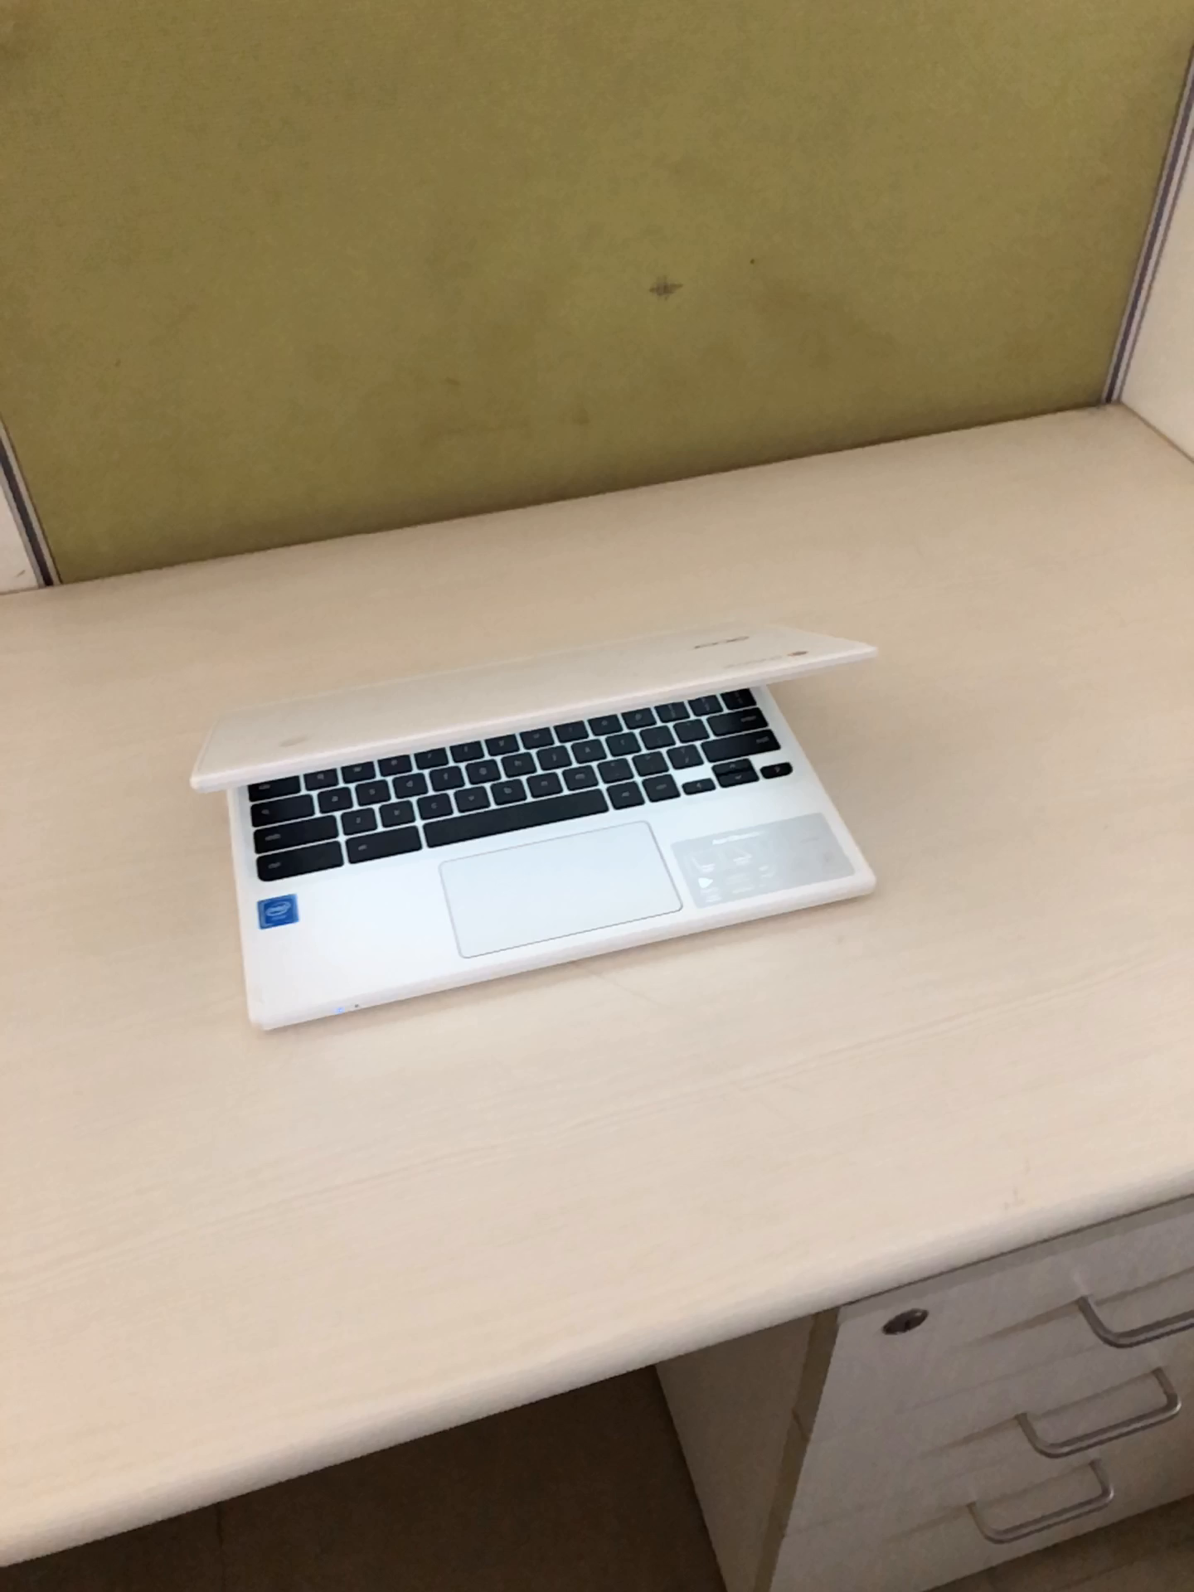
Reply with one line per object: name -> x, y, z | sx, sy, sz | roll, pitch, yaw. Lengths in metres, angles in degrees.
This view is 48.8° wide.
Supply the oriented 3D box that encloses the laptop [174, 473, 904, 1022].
laptop -> -0.036, -0.036, 0.629 | 0.290, 0.105, 0.197 | -11, 46, -11
